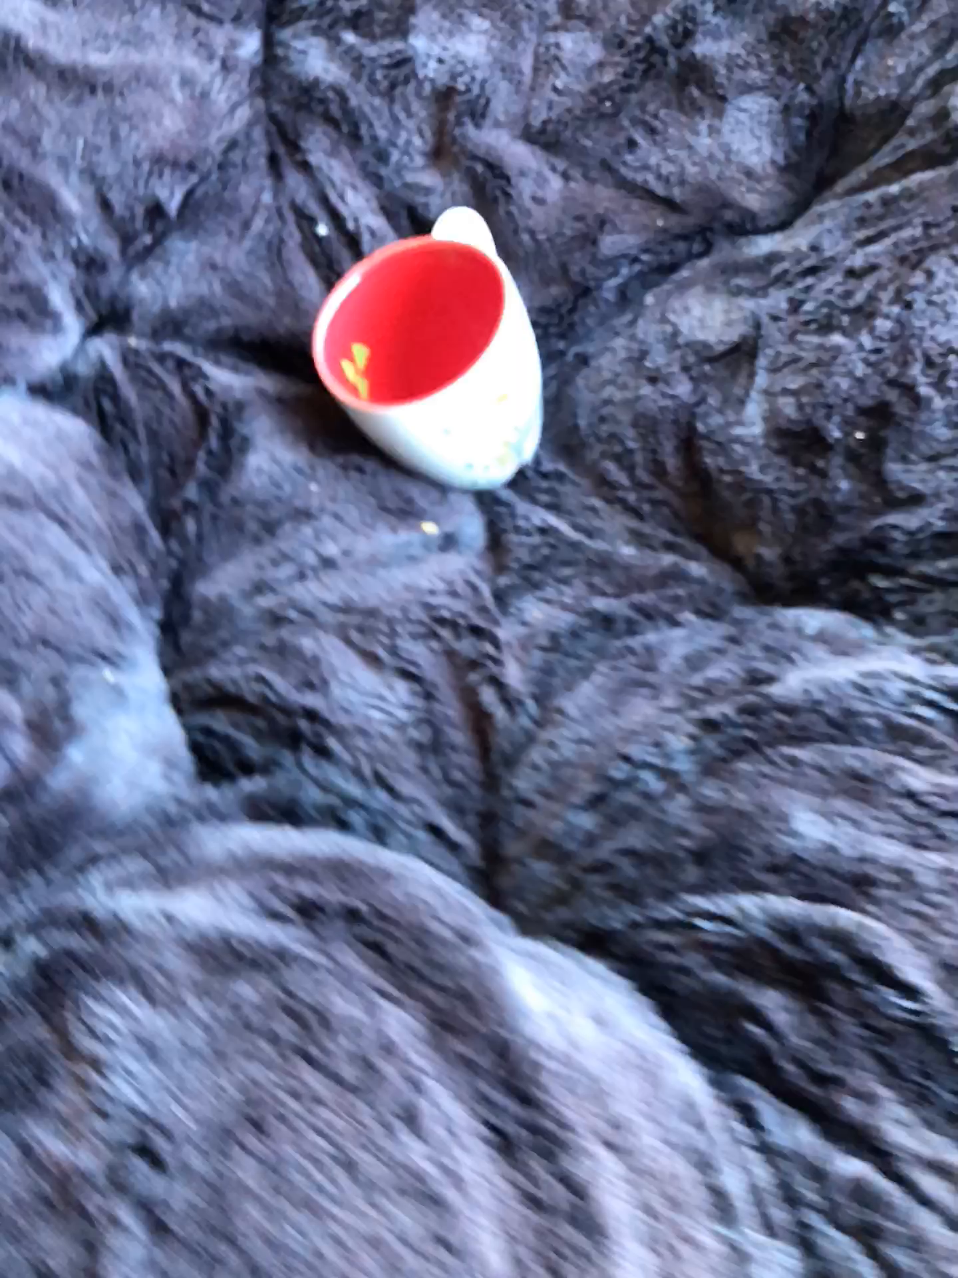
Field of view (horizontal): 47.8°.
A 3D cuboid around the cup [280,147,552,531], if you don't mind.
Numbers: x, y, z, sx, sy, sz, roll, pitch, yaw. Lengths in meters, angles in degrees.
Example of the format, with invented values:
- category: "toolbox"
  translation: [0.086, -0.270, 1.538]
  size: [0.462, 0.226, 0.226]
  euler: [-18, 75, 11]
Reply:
- category: "cup"
  translation: [-0.024, -0.146, 0.548]
  size: [0.100, 0.110, 0.140]
  euler: [-3, 67, 14]
